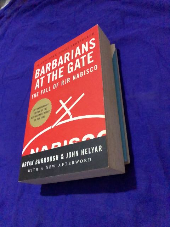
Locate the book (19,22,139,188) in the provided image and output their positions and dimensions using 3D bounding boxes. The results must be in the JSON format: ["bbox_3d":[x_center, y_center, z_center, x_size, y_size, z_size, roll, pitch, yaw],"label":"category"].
[{"bbox_3d":[-0.013,-0.011,0.276,0.140,0.050,0.210,-18,57,29],"label":"book"}]
